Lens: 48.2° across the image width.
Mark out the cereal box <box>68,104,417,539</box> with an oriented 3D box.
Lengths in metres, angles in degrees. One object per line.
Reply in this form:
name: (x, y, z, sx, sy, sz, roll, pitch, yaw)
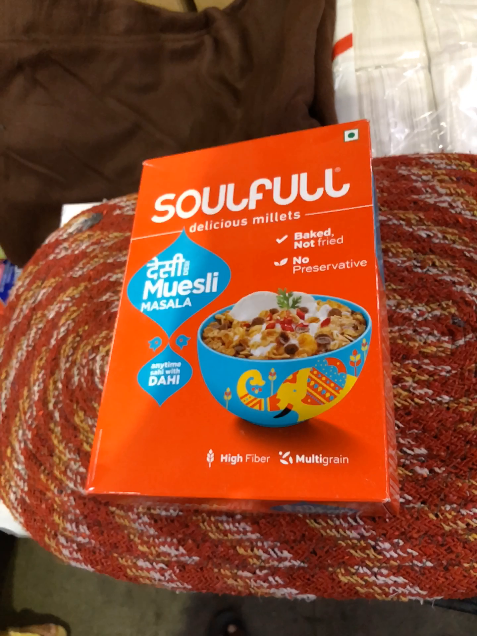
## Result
cereal box: (0.008, -0.003, 0.347, 0.180, 0.060, 0.261, -6, 62, 19)
